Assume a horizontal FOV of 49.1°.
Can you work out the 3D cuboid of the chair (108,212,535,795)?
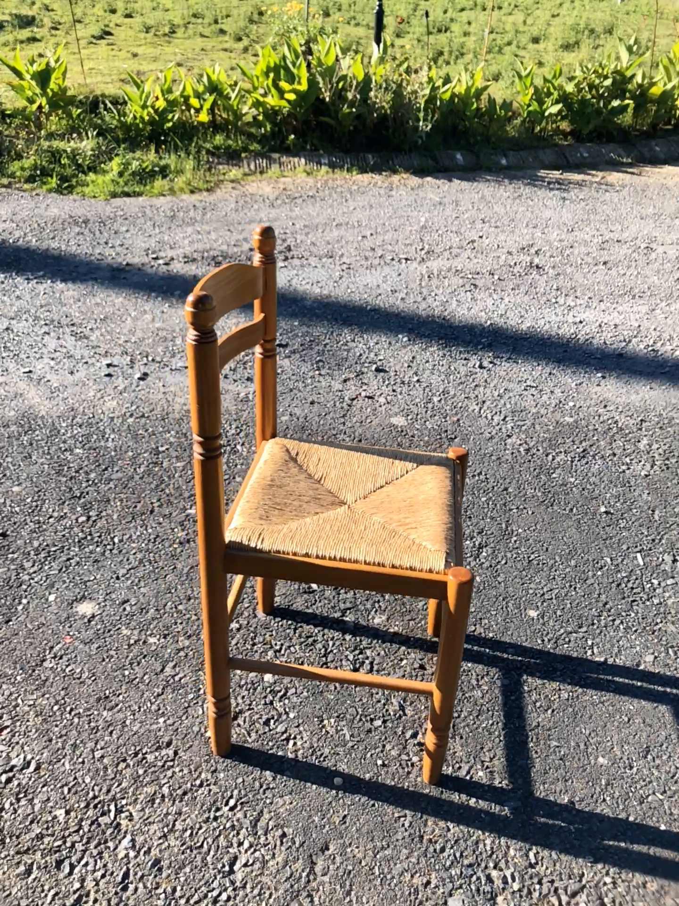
[{"bbox_3d":[0.000,0.070,1.251,0.490,0.795,0.493,5,30,6],"label":"chair"}]
